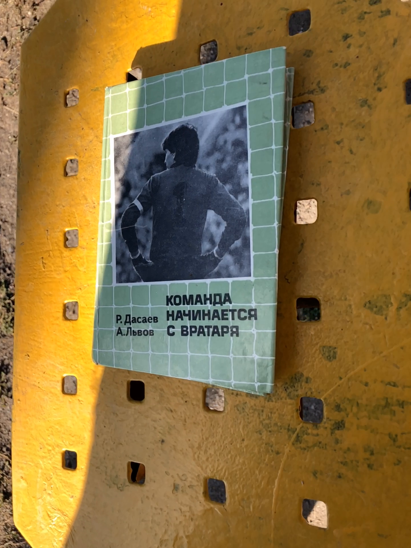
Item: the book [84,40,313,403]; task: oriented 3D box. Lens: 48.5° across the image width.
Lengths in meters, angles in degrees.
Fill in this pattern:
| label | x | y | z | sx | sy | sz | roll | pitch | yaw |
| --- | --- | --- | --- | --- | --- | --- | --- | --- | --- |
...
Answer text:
| label | x | y | z | sx | sy | sz | roll | pitch | yaw |
| --- | --- | --- | --- | --- | --- | --- | --- | --- | --- |
| book | -0.007 | -0.026 | 0.248 | 0.118 | 0.030 | 0.164 | 2 | 88 | 31 |
